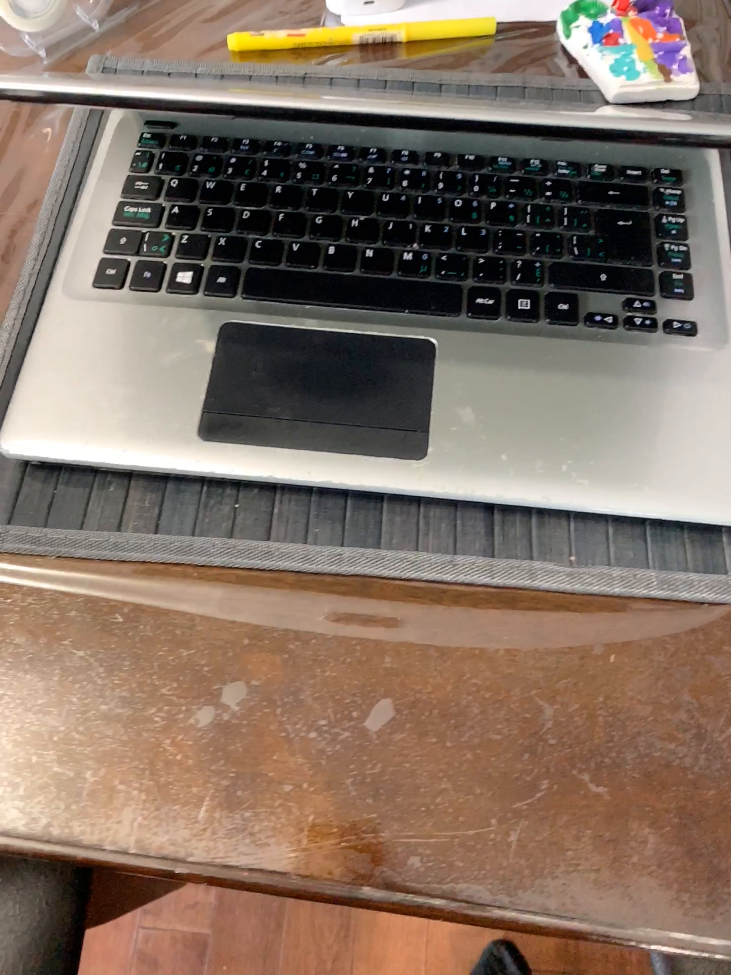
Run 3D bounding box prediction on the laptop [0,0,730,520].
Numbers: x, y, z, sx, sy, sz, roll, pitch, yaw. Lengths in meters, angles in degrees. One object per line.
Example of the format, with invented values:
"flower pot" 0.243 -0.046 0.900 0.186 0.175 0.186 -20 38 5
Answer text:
"laptop" 0.013 -0.133 0.319 0.343 0.141 0.225 5 66 3
